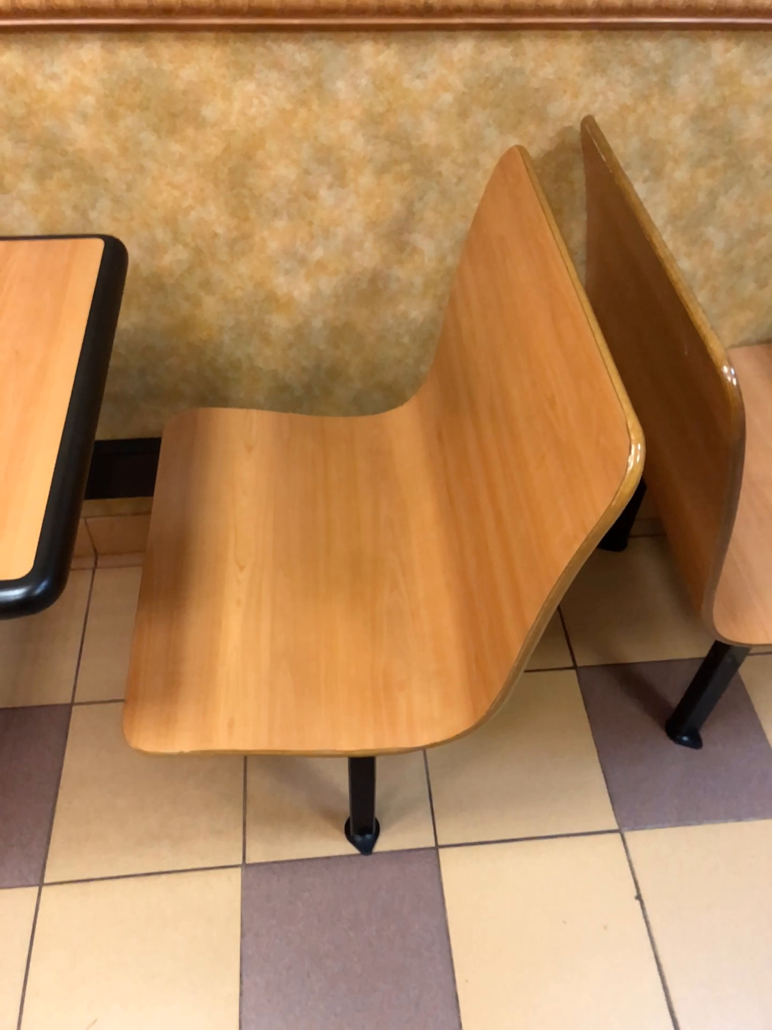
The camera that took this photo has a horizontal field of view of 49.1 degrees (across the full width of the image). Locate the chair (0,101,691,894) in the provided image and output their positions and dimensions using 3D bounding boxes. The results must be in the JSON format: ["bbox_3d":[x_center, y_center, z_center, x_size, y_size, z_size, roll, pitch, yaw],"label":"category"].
[{"bbox_3d":[-0.063,0.024,1.154,0.510,0.885,0.633,-2,48,-4],"label":"chair"}]
